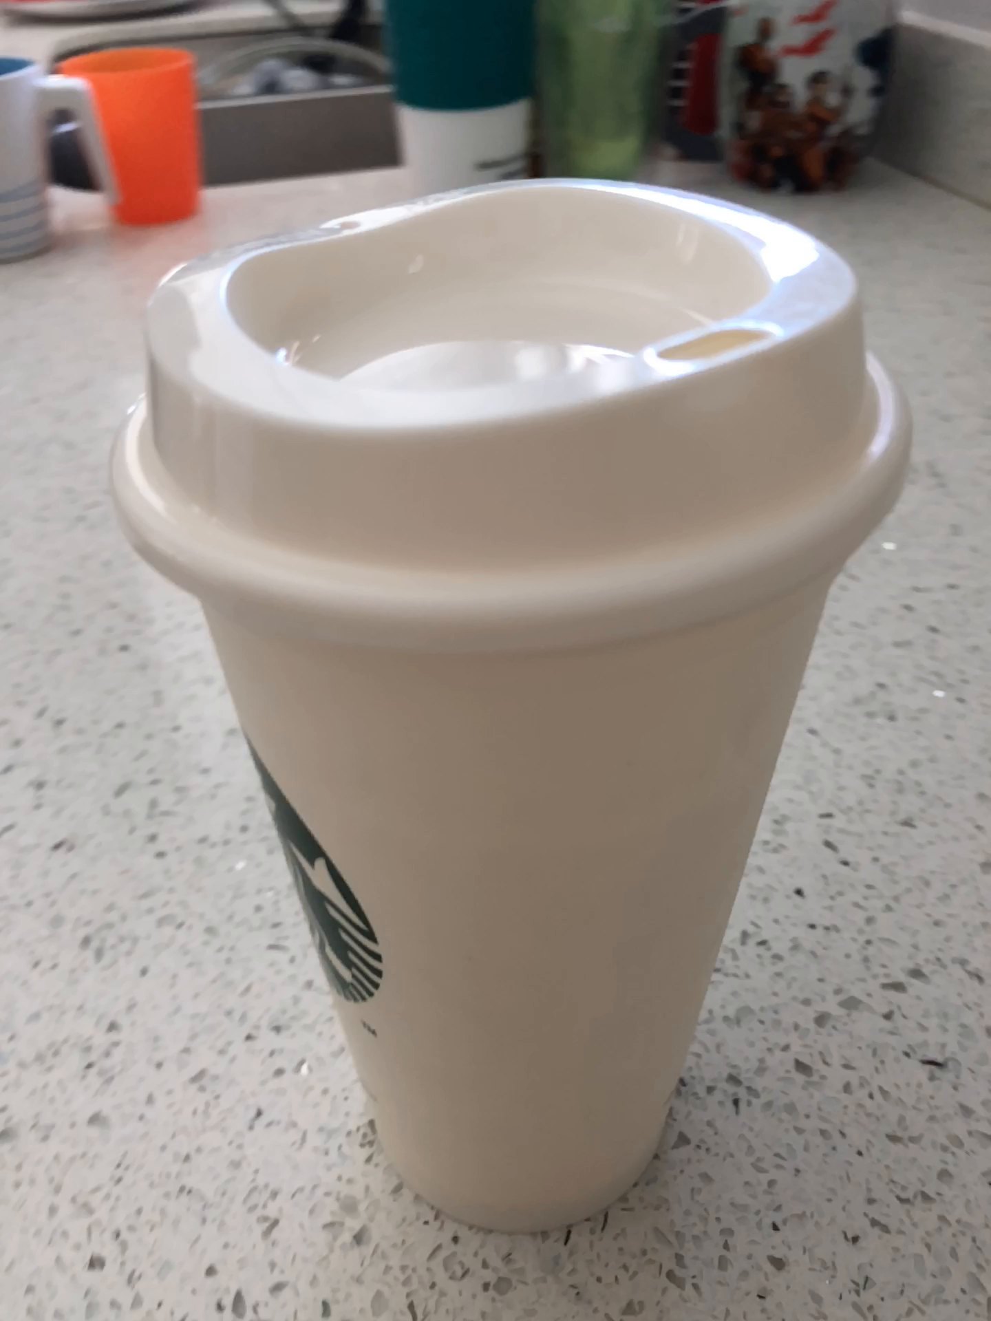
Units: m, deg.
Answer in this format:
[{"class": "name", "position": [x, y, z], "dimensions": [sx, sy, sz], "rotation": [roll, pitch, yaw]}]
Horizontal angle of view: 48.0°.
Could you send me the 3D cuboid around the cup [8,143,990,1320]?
[{"class": "cup", "position": [0.005, 0.014, 0.160], "dimensions": [0.090, 0.139, 0.090], "rotation": [-2, 37, 1]}]
